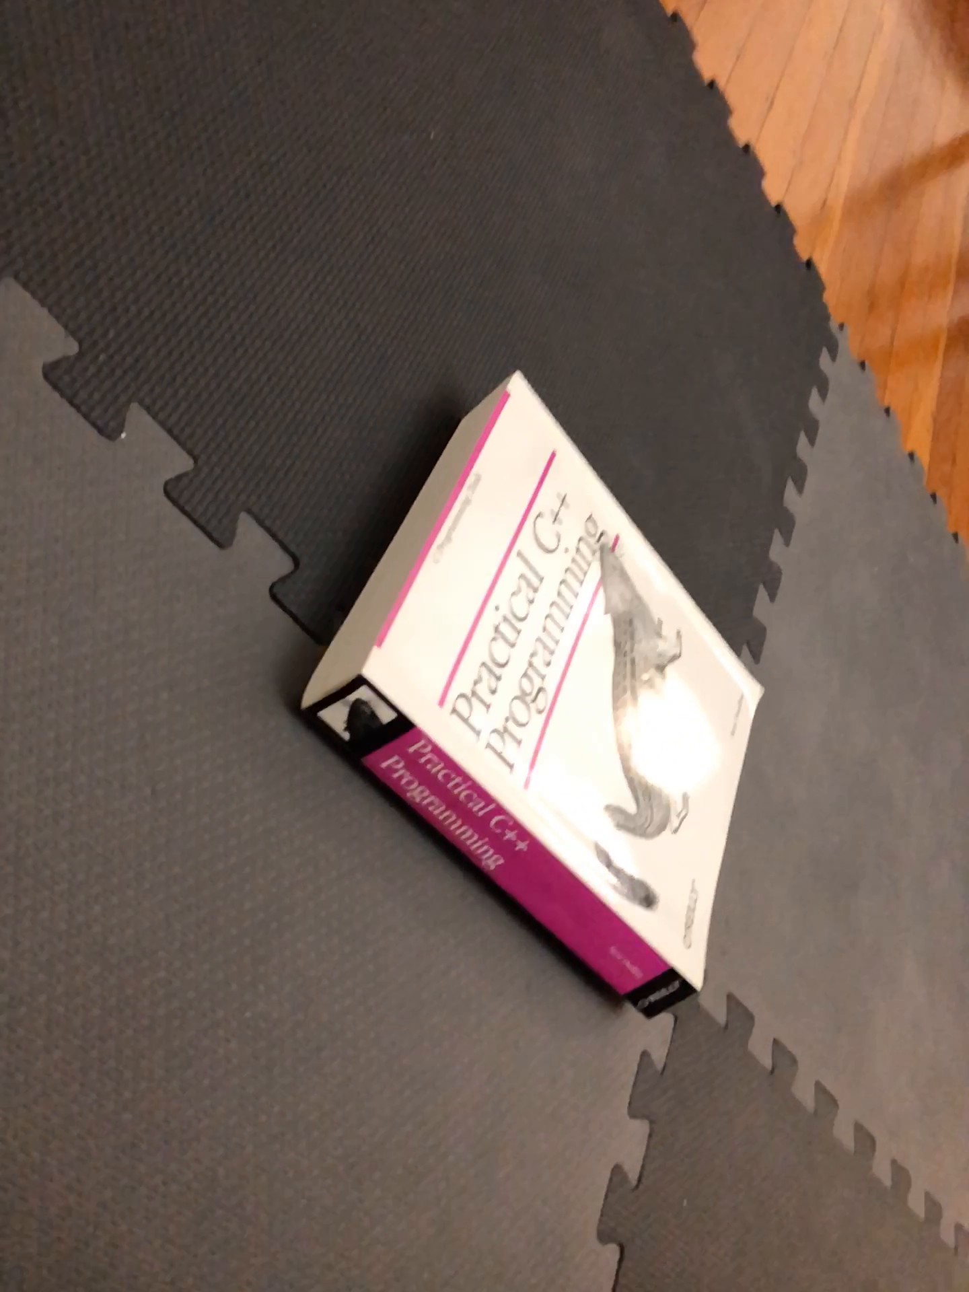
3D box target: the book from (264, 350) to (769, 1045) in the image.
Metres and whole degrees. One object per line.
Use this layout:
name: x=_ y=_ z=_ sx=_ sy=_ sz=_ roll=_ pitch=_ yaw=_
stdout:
book: x=0.041 y=0.027 z=0.486 sx=0.250 sy=0.050 sz=0.201 roll=47 pitch=42 yaw=-29
